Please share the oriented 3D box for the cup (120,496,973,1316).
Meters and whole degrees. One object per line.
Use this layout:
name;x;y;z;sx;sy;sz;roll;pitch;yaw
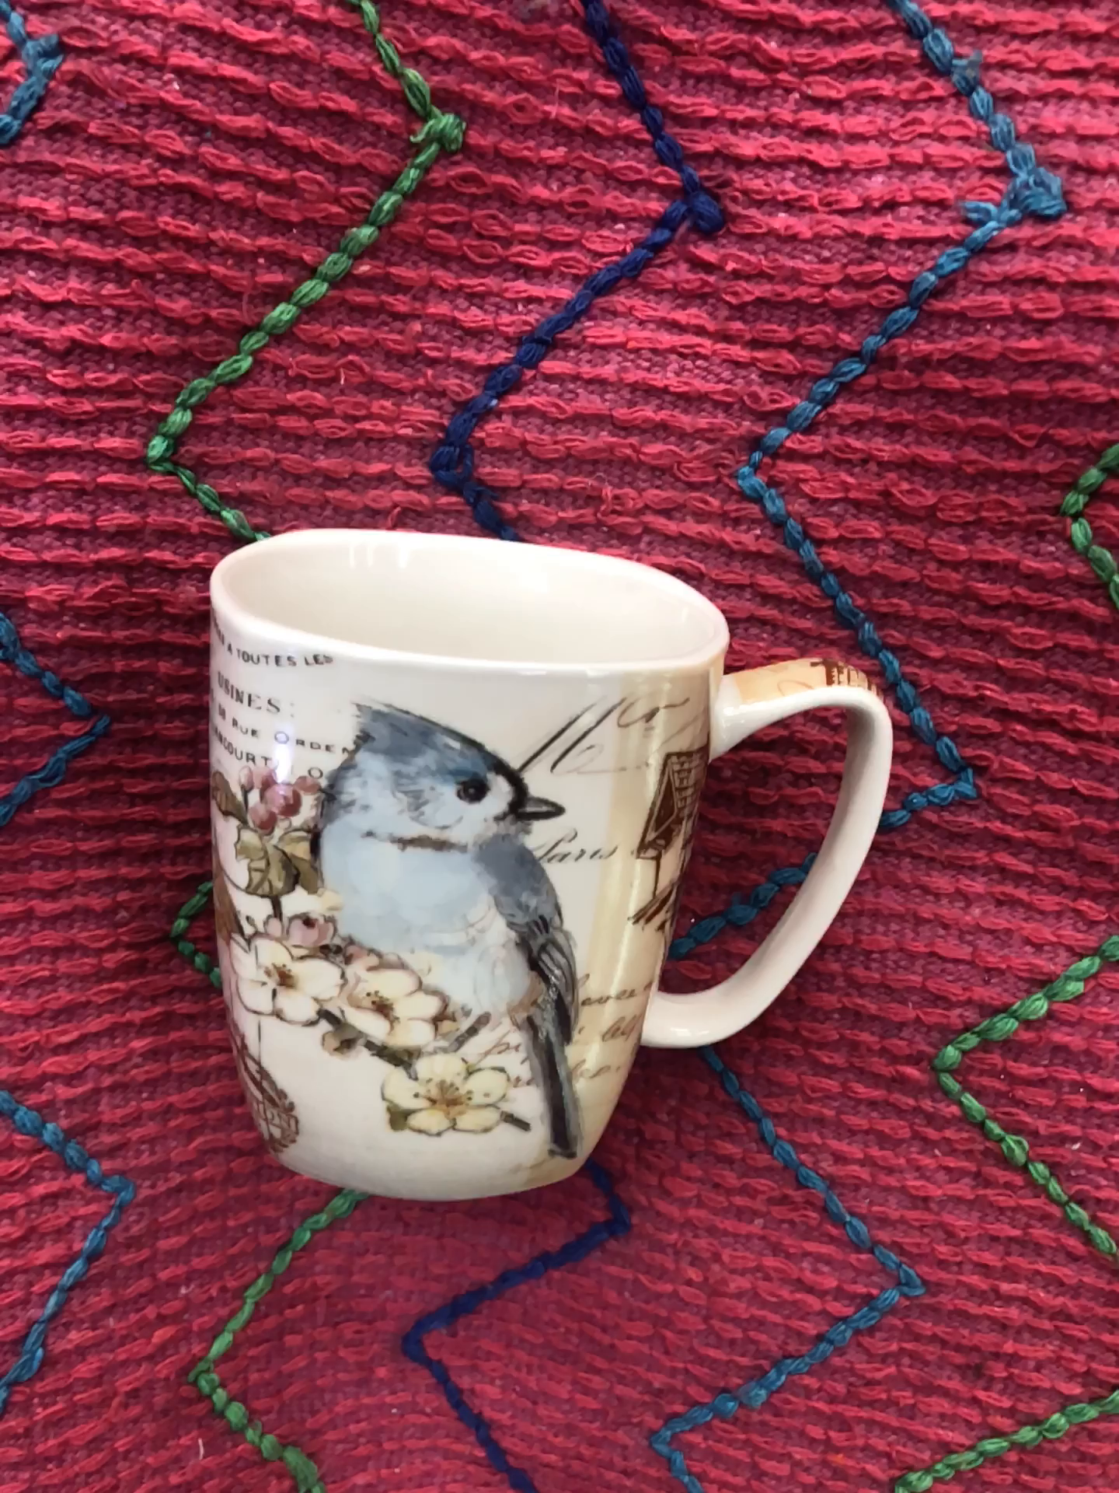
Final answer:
cup;-0.007;0.019;0.209;0.110;0.070;0.110;-4;110;-10
